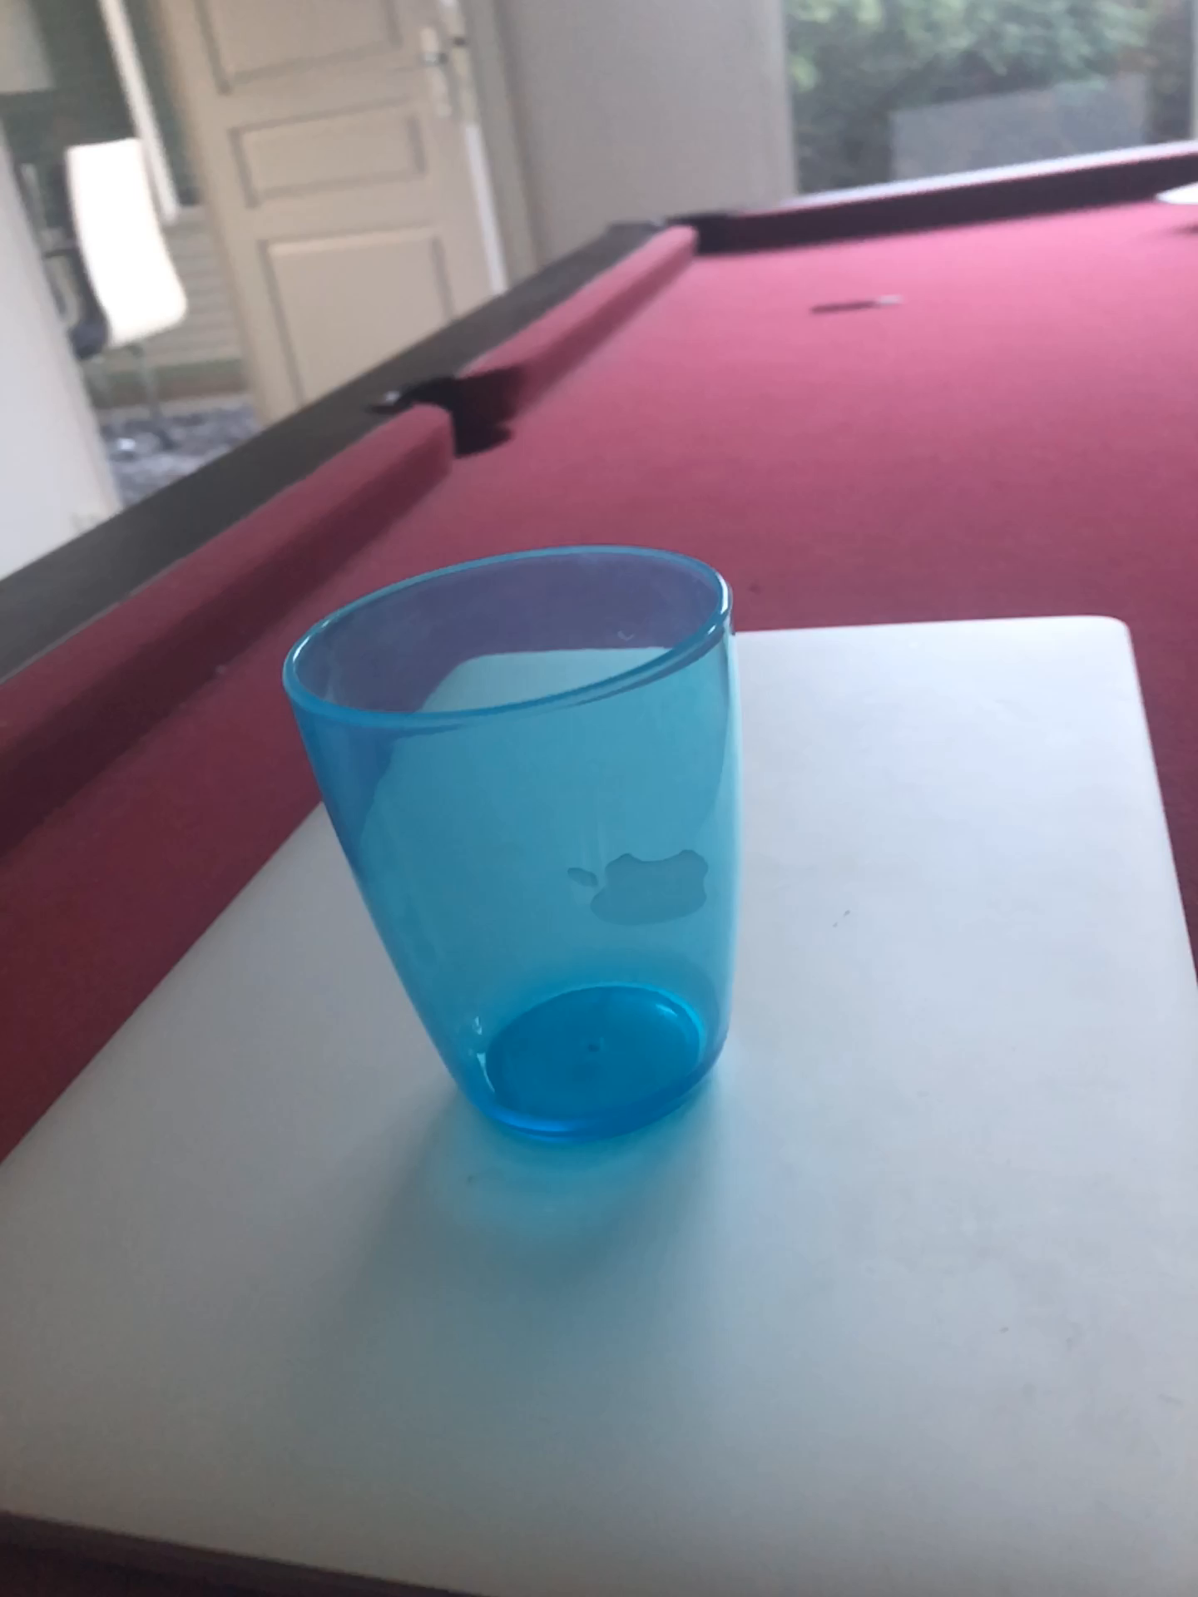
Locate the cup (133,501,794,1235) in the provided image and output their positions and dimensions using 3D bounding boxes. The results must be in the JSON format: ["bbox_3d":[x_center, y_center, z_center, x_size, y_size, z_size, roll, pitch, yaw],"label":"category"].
[{"bbox_3d":[-0.014,0.009,0.253,0.080,0.099,0.091,-1,28,18],"label":"cup"}]
